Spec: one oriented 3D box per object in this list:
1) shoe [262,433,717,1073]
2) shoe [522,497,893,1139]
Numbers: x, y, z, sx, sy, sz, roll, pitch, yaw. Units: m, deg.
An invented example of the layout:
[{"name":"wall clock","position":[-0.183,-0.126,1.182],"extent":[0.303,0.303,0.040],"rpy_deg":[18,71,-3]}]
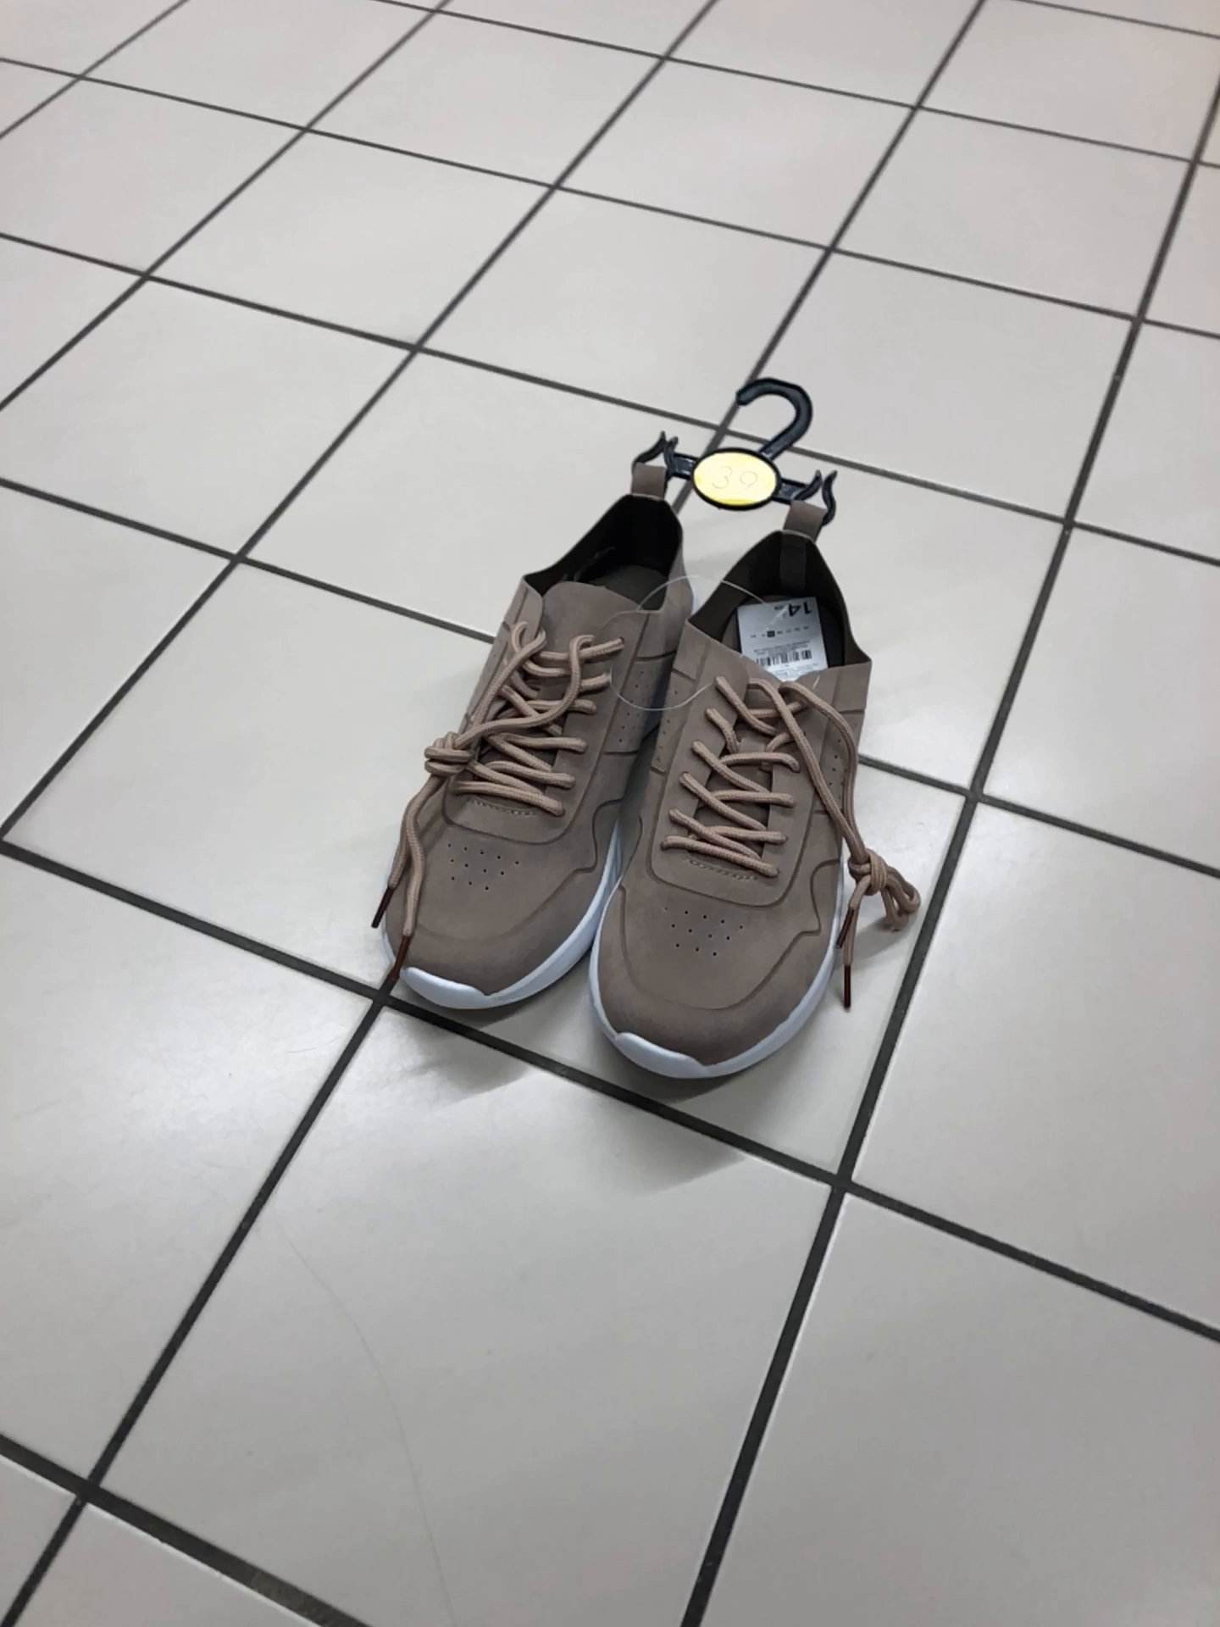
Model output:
[{"name":"shoe","position":[-0.037,-0.036,0.576],"extent":[0.100,0.100,0.255],"rpy_deg":[14,55,10]},{"name":"shoe","position":[0.048,-0.010,0.561],"extent":[0.100,0.080,0.259],"rpy_deg":[10,54,8]}]
